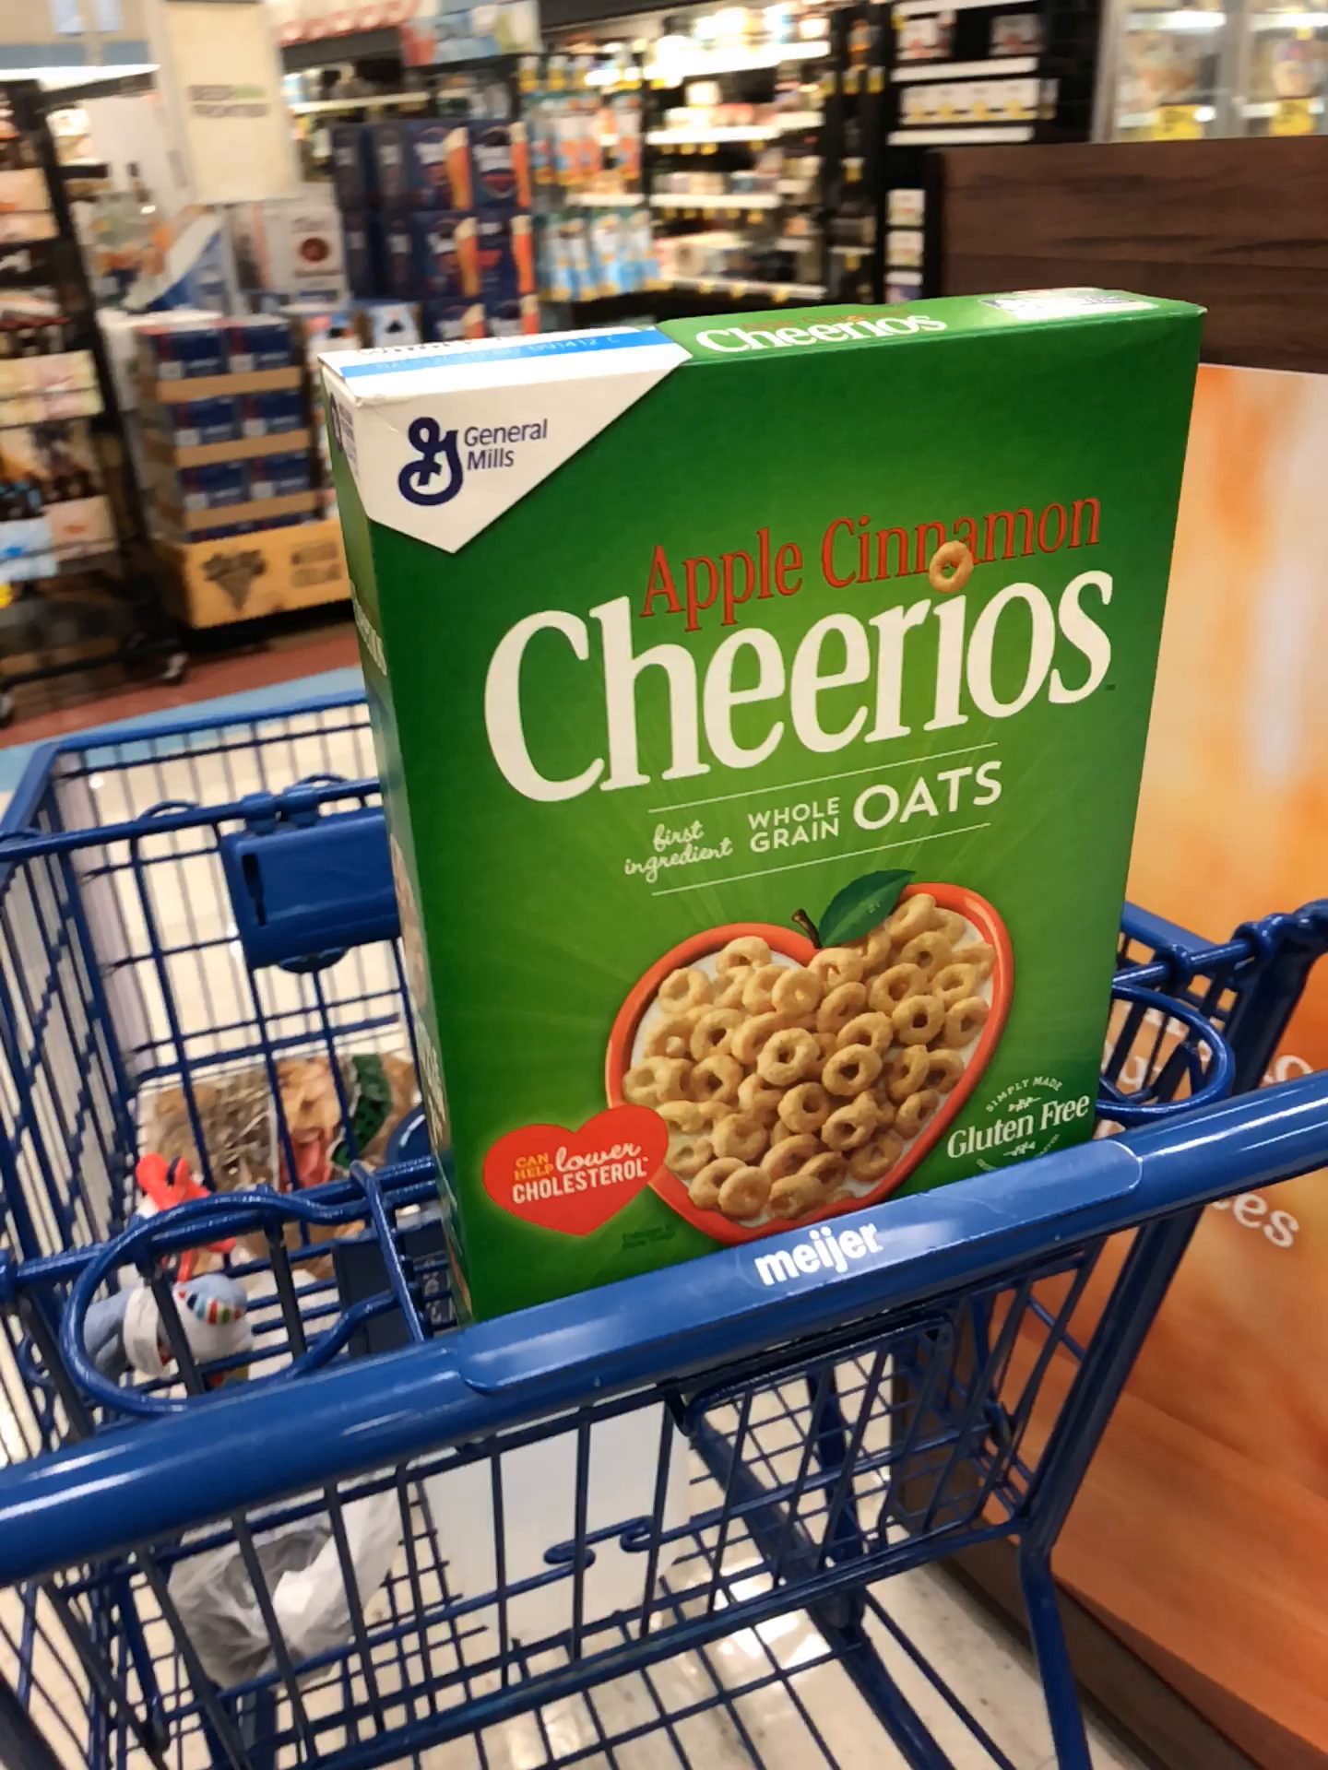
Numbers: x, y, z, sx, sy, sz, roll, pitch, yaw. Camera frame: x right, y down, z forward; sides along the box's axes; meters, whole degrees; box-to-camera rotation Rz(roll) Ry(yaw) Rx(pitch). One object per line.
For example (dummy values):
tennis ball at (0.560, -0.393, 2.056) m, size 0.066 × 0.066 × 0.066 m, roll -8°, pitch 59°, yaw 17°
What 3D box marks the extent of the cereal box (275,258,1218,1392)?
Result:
cereal box at (0.027, -0.013, 0.394) m, size 0.210 × 0.269 × 0.050 m, roll -13°, pitch 30°, yaw -19°
